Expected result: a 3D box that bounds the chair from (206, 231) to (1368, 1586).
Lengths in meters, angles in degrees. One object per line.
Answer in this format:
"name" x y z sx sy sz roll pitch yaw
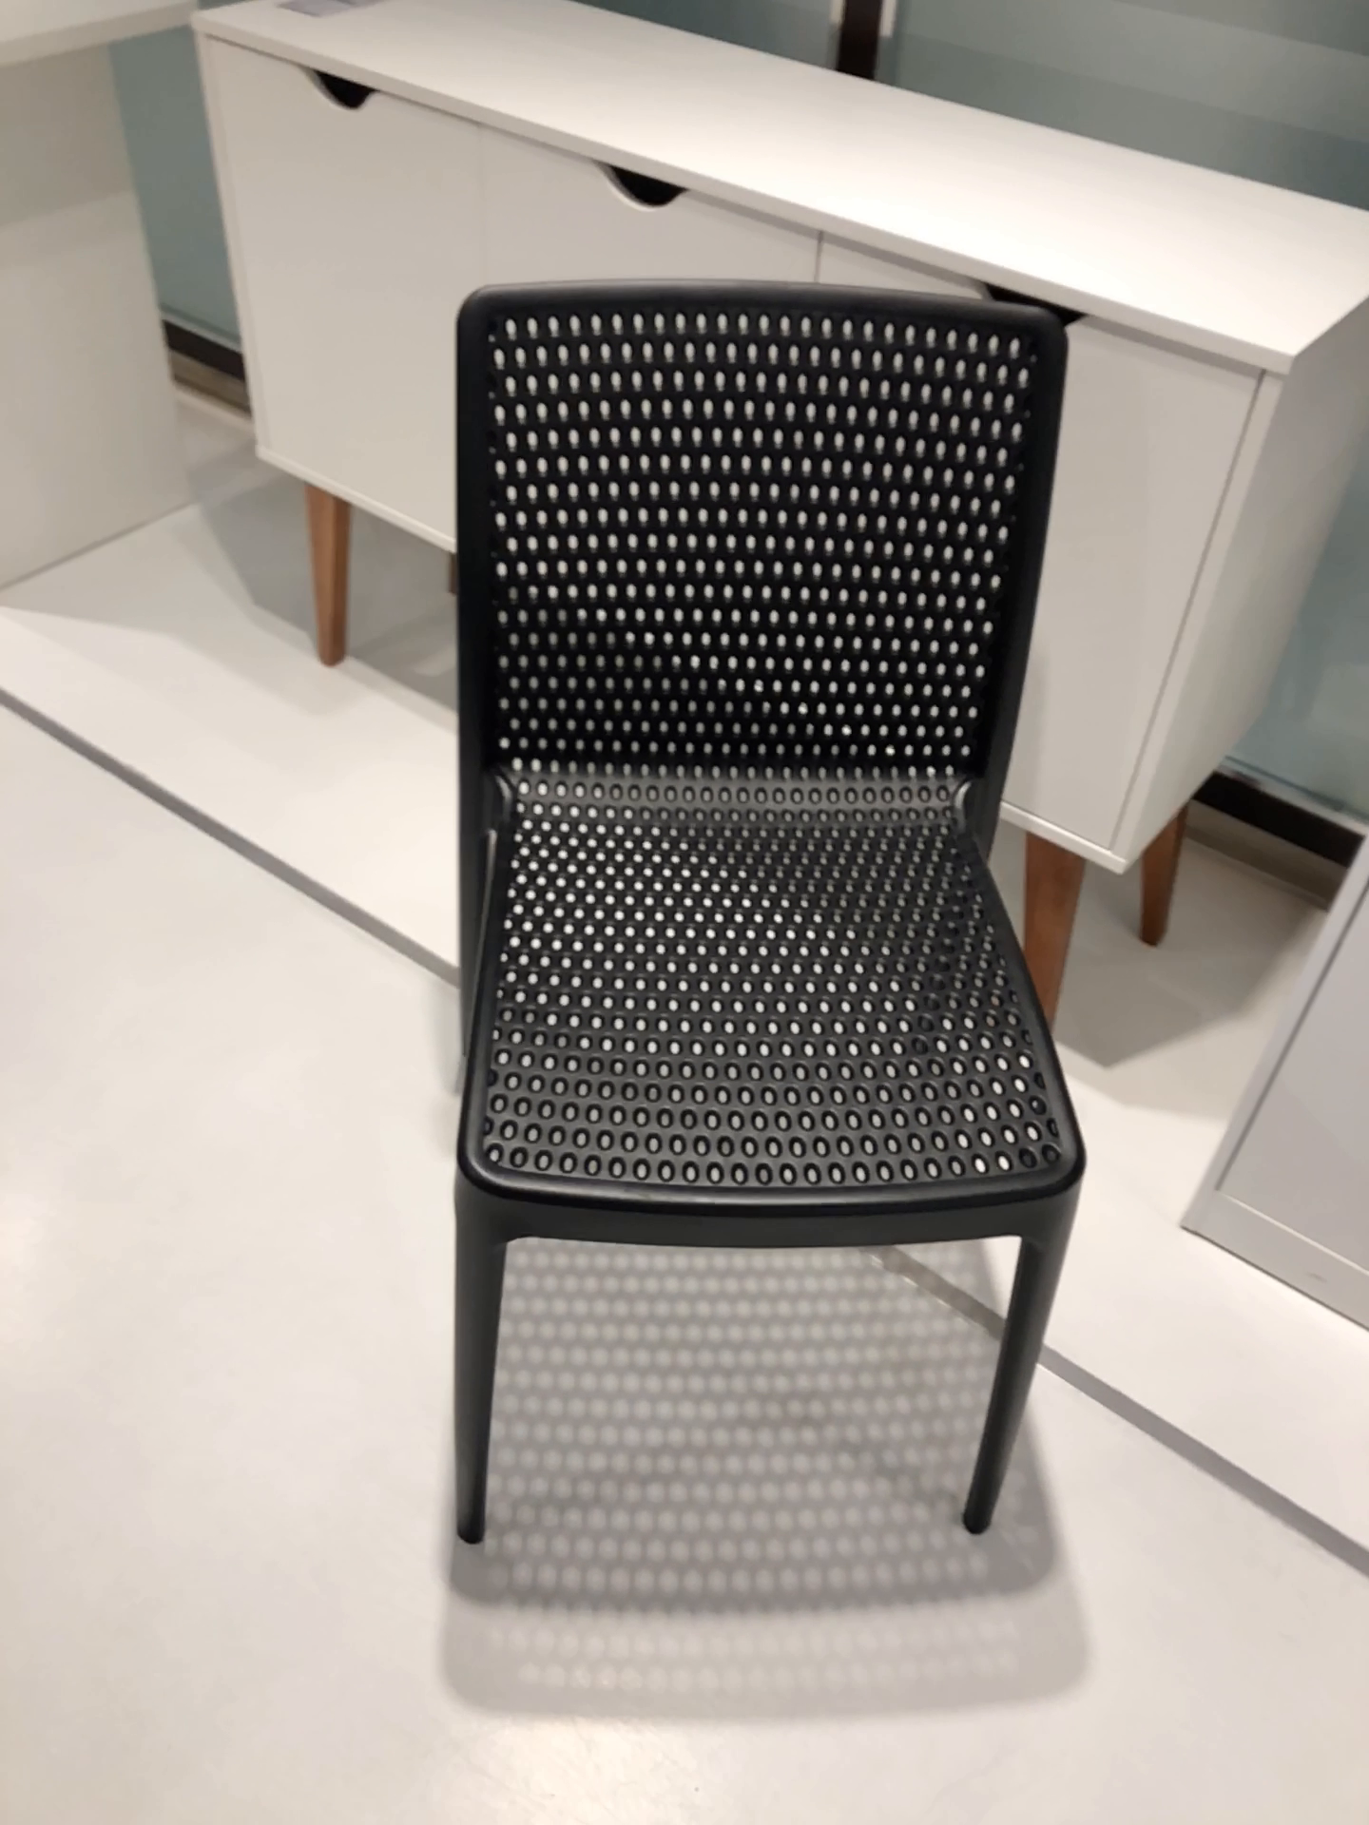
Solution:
"chair" 0.017 0.030 1.187 0.530 0.864 0.604 0 43 -5
